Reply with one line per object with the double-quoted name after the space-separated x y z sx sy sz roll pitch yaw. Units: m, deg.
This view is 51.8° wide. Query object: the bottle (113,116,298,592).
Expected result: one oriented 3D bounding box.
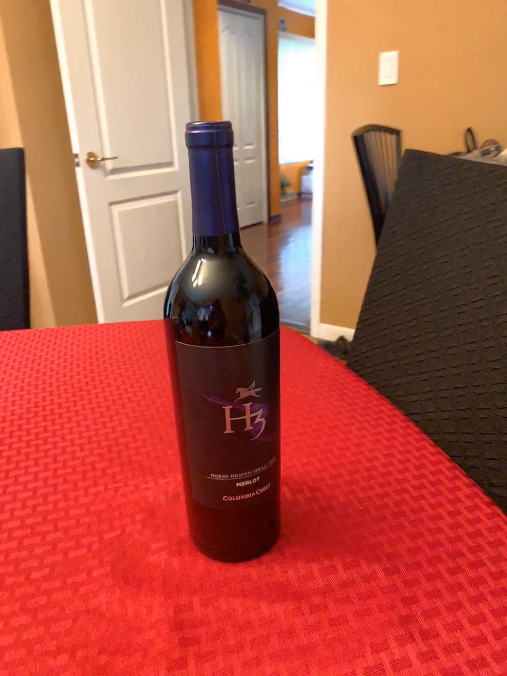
-0.026 0.013 0.342 0.080 0.289 0.080 -2 22 1 "bottle"
